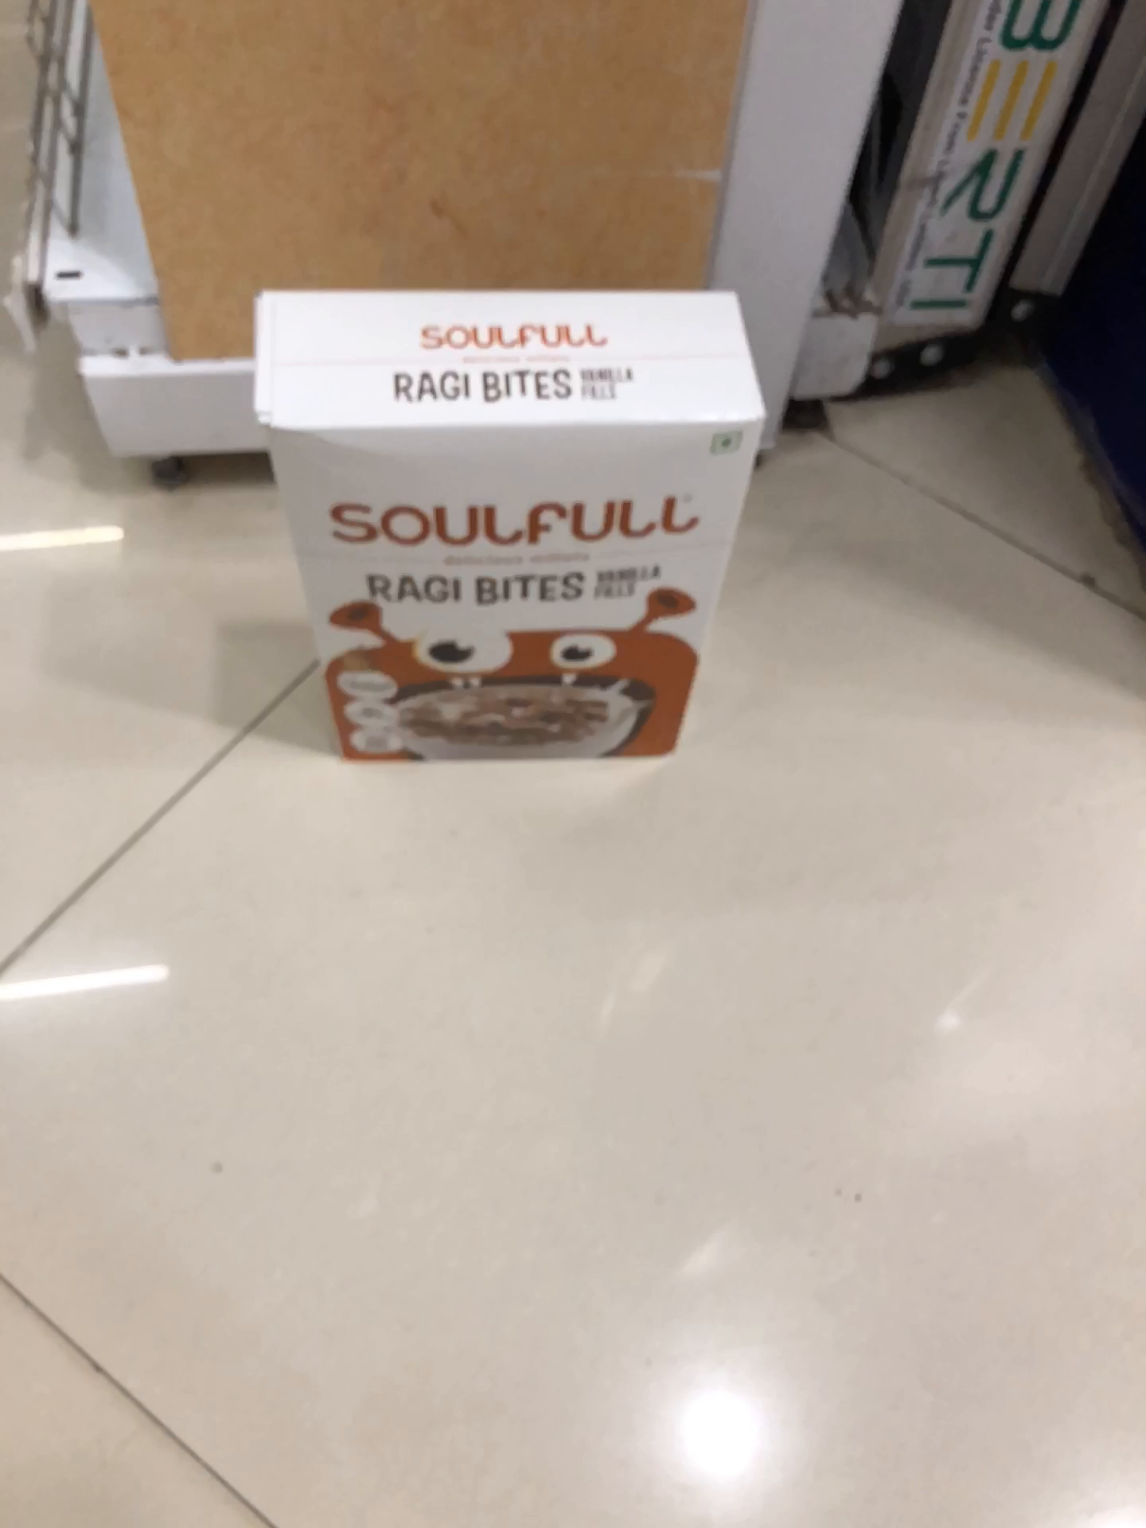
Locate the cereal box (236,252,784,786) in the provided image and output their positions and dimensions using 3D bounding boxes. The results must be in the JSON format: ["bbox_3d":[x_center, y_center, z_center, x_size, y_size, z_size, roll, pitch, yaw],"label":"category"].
[{"bbox_3d":[-0.028,-0.081,0.525,0.170,0.249,0.070,-1,62,-5],"label":"cereal box"}]
